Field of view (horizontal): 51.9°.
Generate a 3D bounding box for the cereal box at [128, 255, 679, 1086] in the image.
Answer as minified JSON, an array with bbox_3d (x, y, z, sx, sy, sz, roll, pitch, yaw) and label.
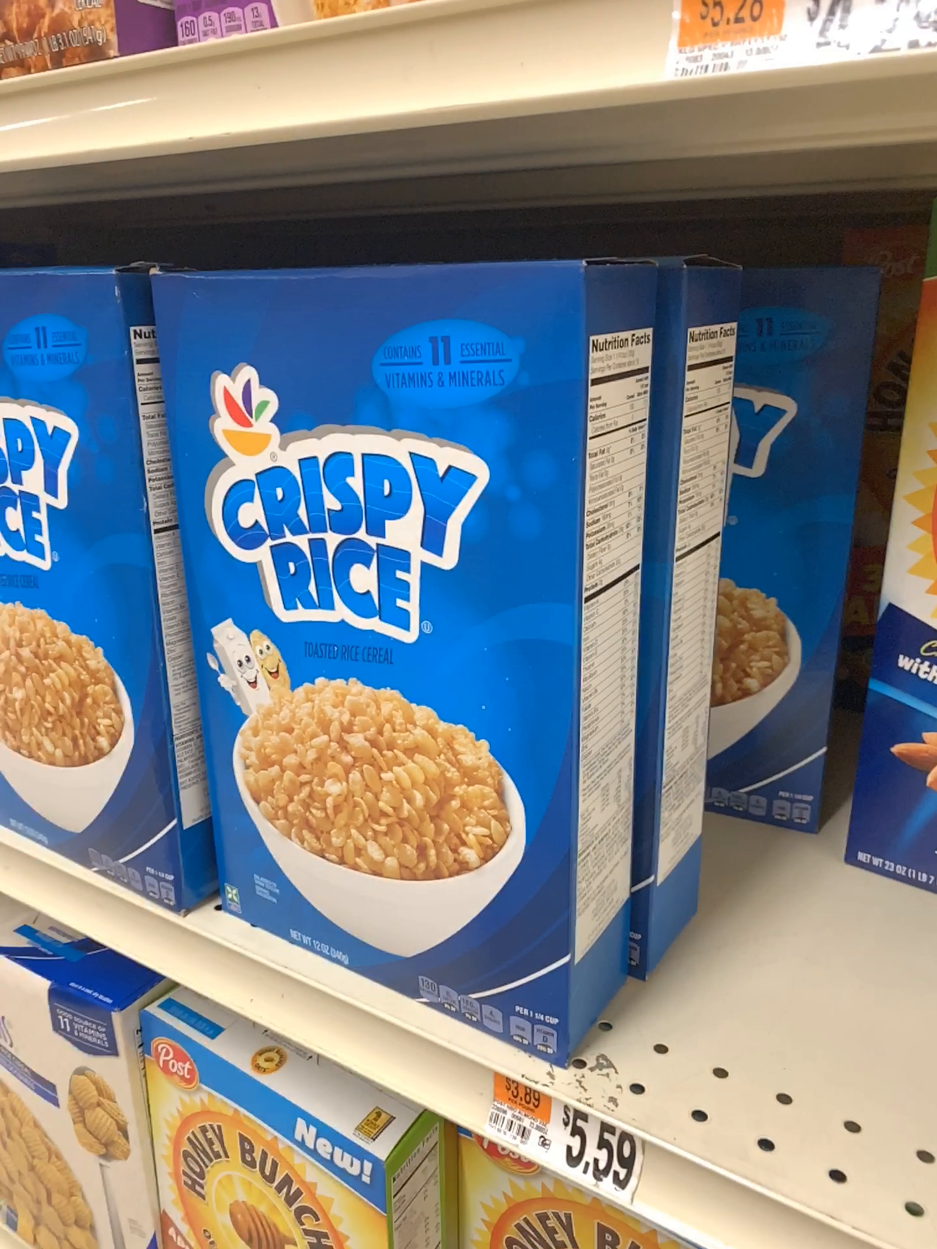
[{"bbox_3d":[-0.029,0.011,0.423,0.210,0.318,0.070,11,23,31],"label":"cereal box"}]
